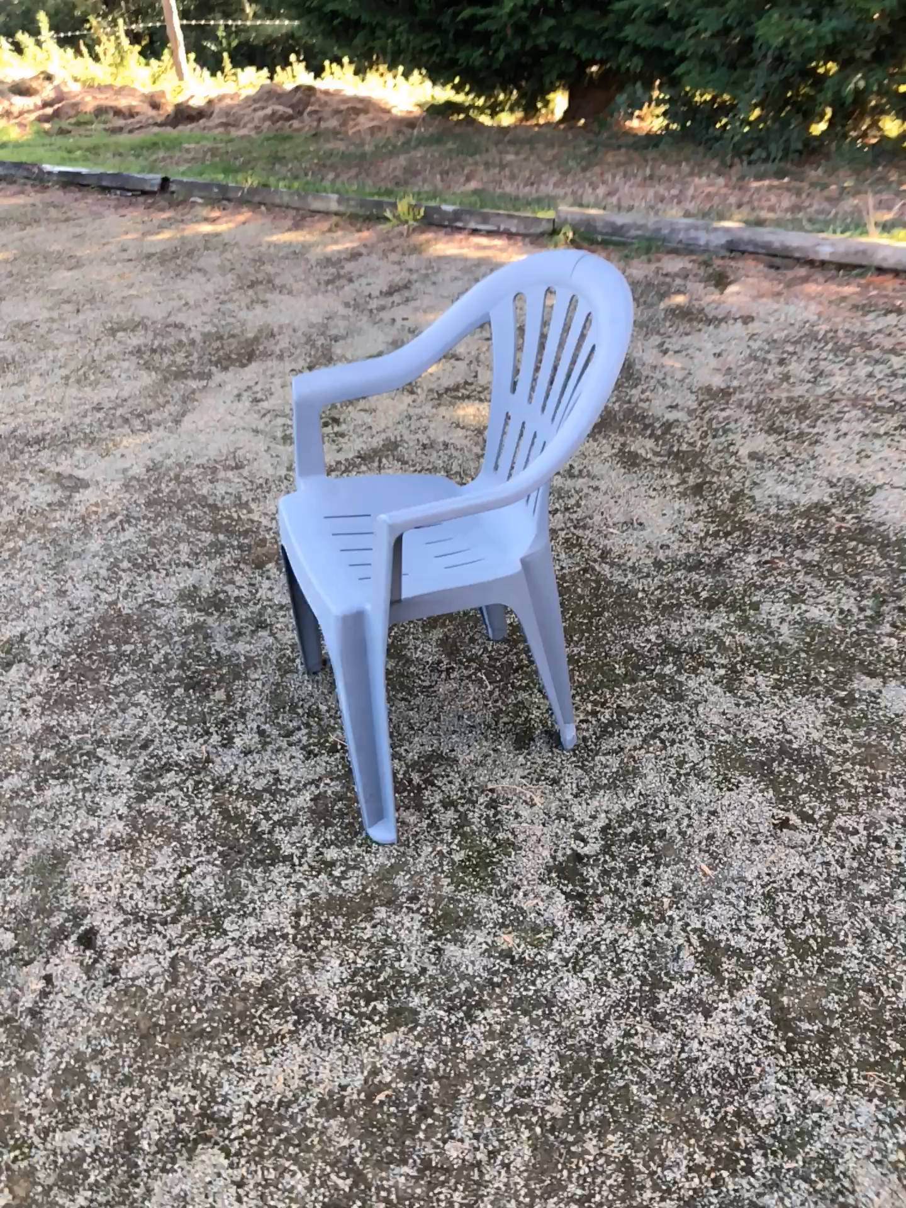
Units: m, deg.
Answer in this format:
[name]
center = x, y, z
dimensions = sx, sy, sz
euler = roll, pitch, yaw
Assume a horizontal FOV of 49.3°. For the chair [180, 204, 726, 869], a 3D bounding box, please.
[chair]
center = -0.025, -0.143, 1.633
dimensions = 0.621, 0.775, 0.633
euler = -13, 36, -12
